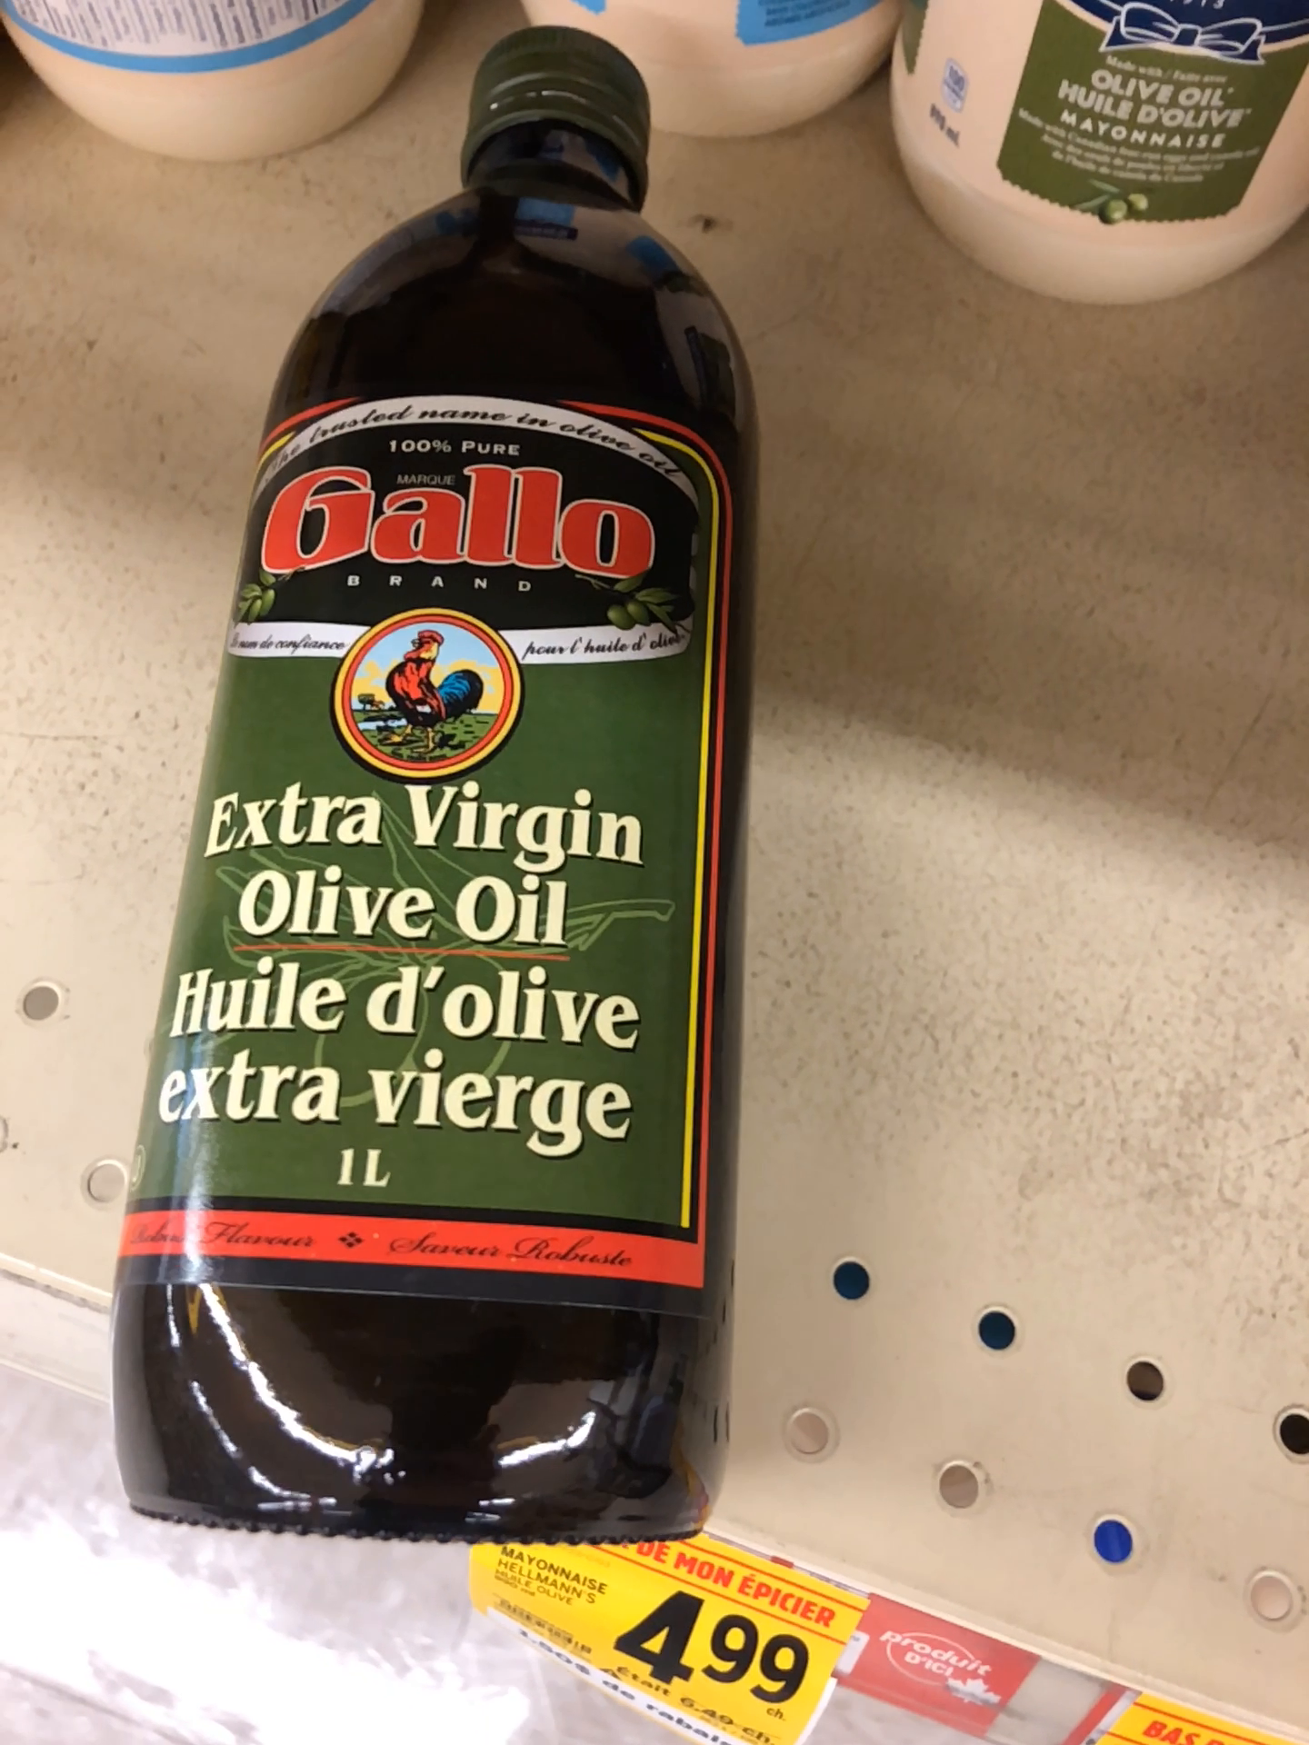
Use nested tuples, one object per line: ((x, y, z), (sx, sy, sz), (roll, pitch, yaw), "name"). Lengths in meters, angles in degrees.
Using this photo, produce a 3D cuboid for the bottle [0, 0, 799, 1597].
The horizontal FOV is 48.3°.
((-0.028, -0.039, 0.239), (0.090, 0.090, 0.271), (3, 69, 1), "bottle")
